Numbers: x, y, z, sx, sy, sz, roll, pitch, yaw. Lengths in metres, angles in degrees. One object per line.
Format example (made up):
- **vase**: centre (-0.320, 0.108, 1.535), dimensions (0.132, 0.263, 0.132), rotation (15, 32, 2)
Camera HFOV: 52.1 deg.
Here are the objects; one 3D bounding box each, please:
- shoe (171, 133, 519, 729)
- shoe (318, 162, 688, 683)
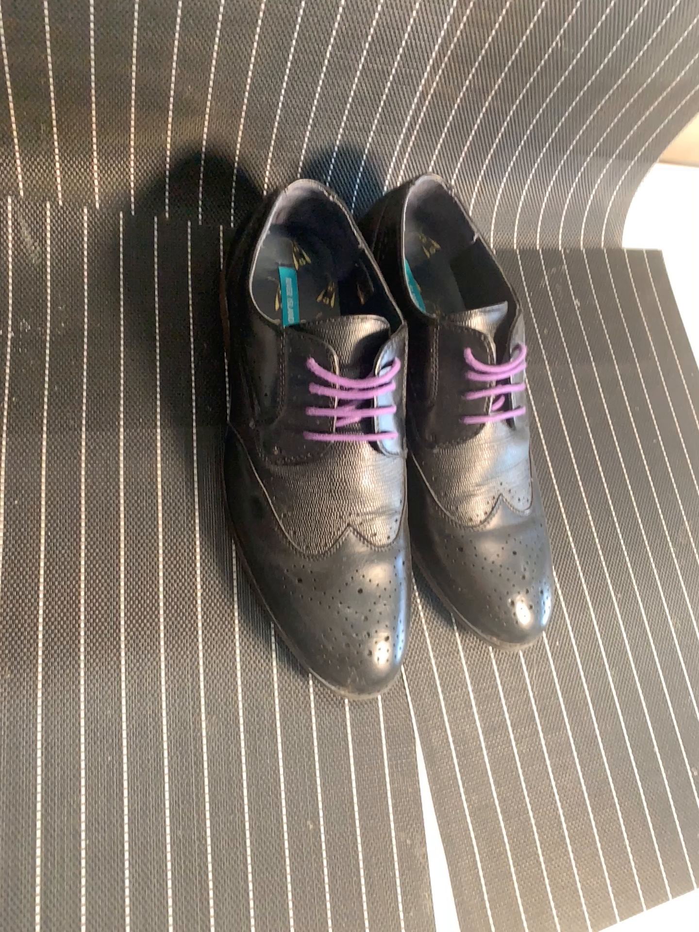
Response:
- **shoe**: centre (-0.016, -0.023, 0.409), dimensions (0.120, 0.100, 0.300), rotation (-7, 77, -21)
- **shoe**: centre (0.079, -0.028, 0.424), dimensions (0.110, 0.090, 0.280), rotation (-11, 79, -22)
